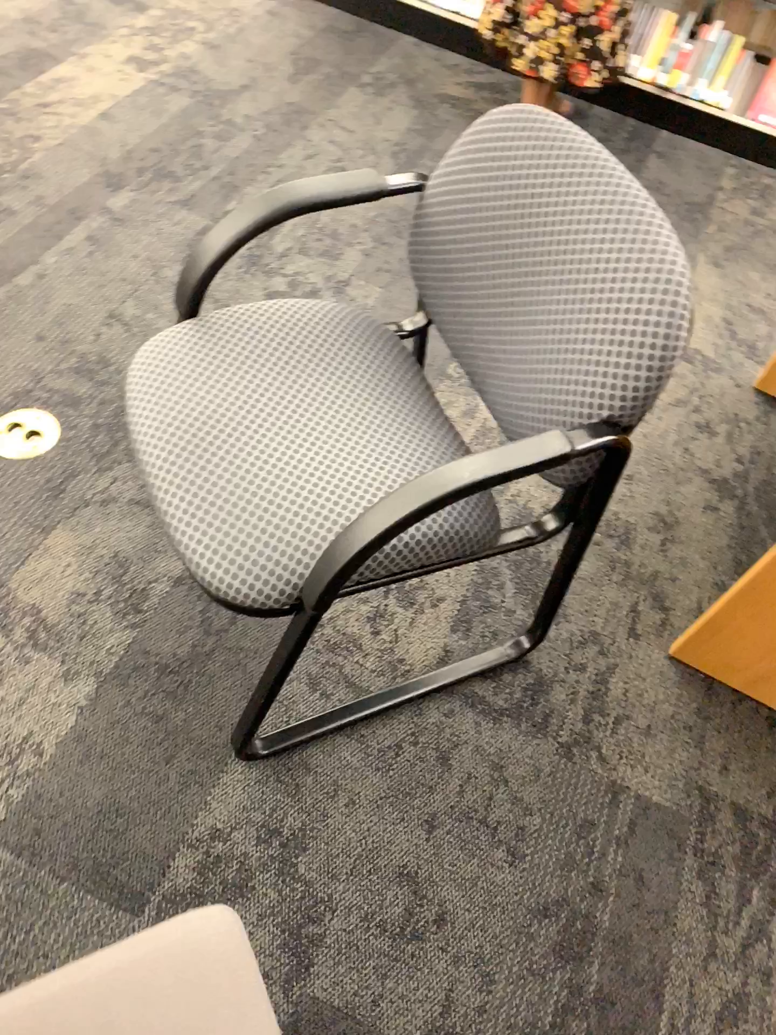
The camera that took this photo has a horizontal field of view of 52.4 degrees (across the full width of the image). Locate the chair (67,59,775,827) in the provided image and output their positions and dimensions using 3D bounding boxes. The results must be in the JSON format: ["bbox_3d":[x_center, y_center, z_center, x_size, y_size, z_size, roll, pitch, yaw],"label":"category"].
[{"bbox_3d":[0.034,-0.128,1.159,0.721,0.678,0.732,-15,59,-21],"label":"chair"}]
